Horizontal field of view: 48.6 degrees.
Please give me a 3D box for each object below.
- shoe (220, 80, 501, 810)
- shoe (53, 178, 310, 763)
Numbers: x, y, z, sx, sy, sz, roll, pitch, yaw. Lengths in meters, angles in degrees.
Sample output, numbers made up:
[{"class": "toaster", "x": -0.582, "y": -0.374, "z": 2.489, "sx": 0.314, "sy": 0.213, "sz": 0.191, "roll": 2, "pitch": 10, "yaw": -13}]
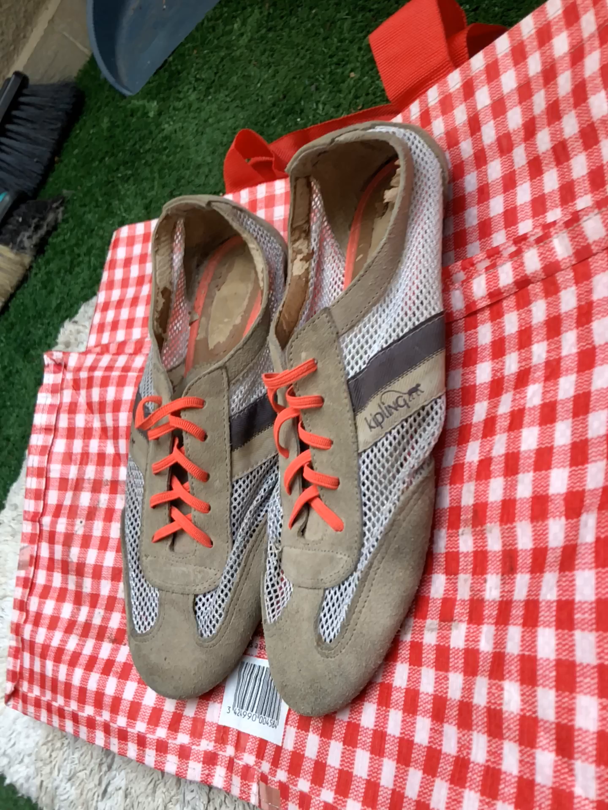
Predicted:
[{"class": "shoe", "x": 0.013, "y": 0.015, "z": 0.259, "sx": 0.100, "sy": 0.050, "sz": 0.230, "roll": -15, "pitch": 73, "yaw": 57}, {"class": "shoe", "x": -0.054, "y": 0.025, "z": 0.320, "sx": 0.100, "sy": 0.050, "sz": 0.240, "roll": -4, "pitch": 79, "yaw": 25}]
